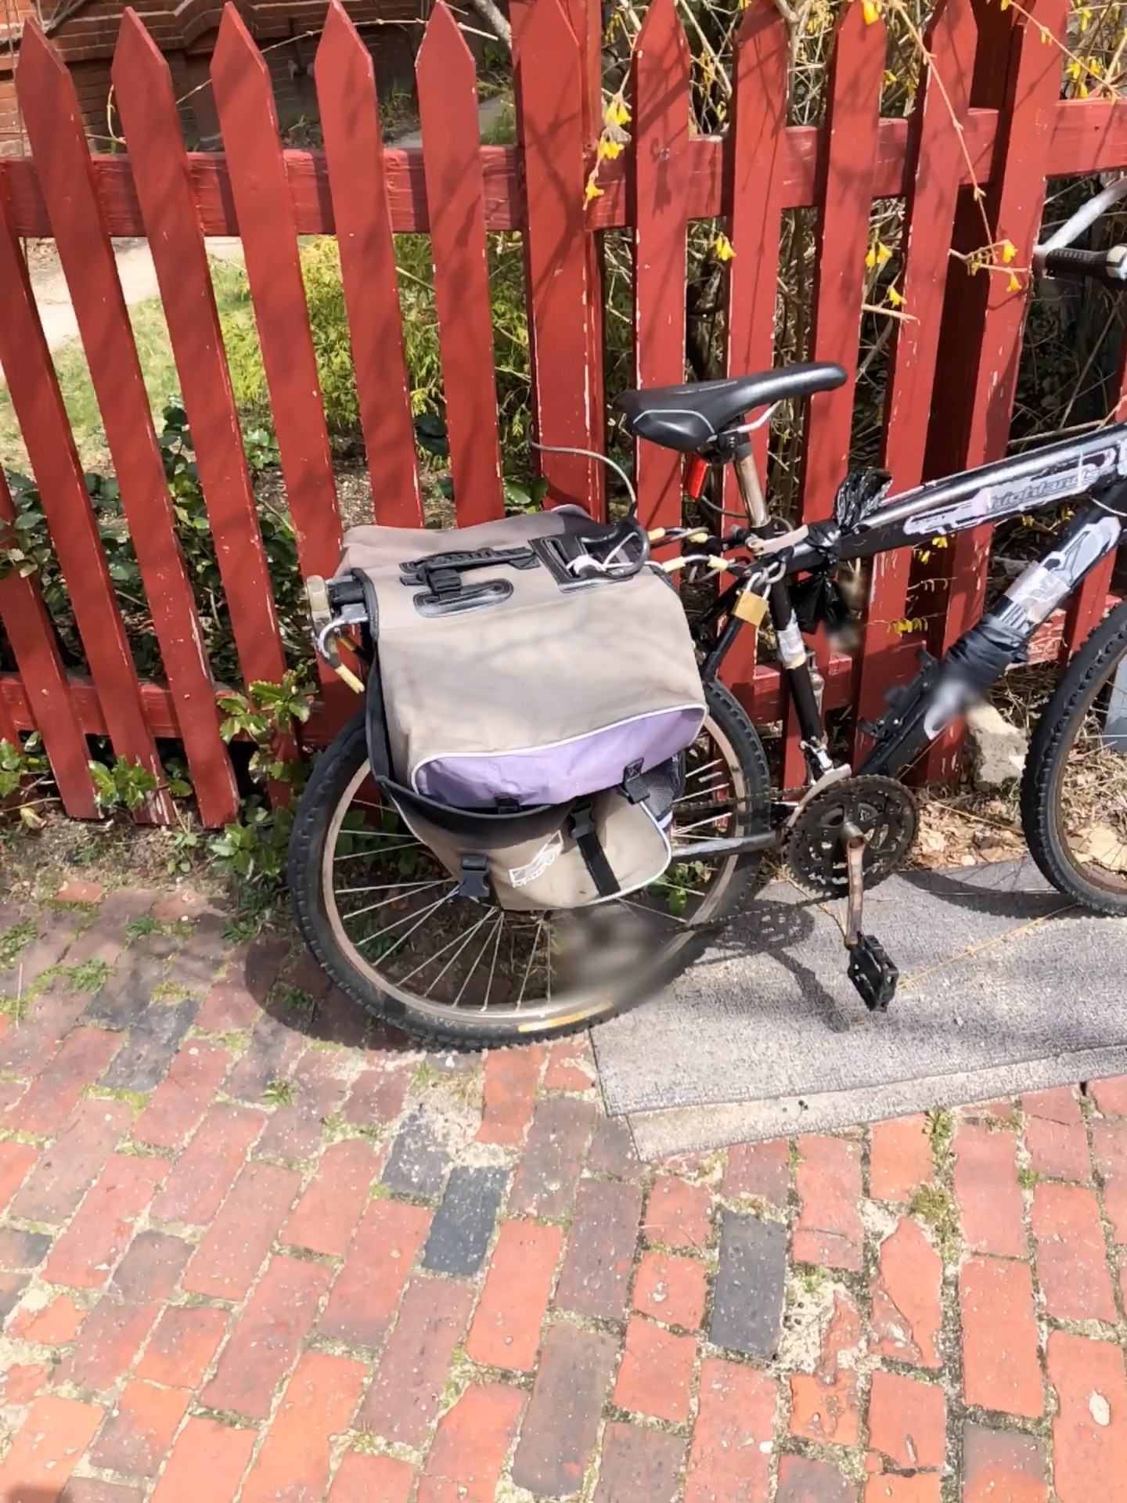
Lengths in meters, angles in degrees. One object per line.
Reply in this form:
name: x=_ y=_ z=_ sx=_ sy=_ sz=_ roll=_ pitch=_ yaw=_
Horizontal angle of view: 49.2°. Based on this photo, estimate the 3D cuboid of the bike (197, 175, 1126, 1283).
bike: x=0.466 y=-0.125 z=1.726 sx=1.726 sy=1.000 sz=0.675 roll=-12 pitch=33 yaw=-12
